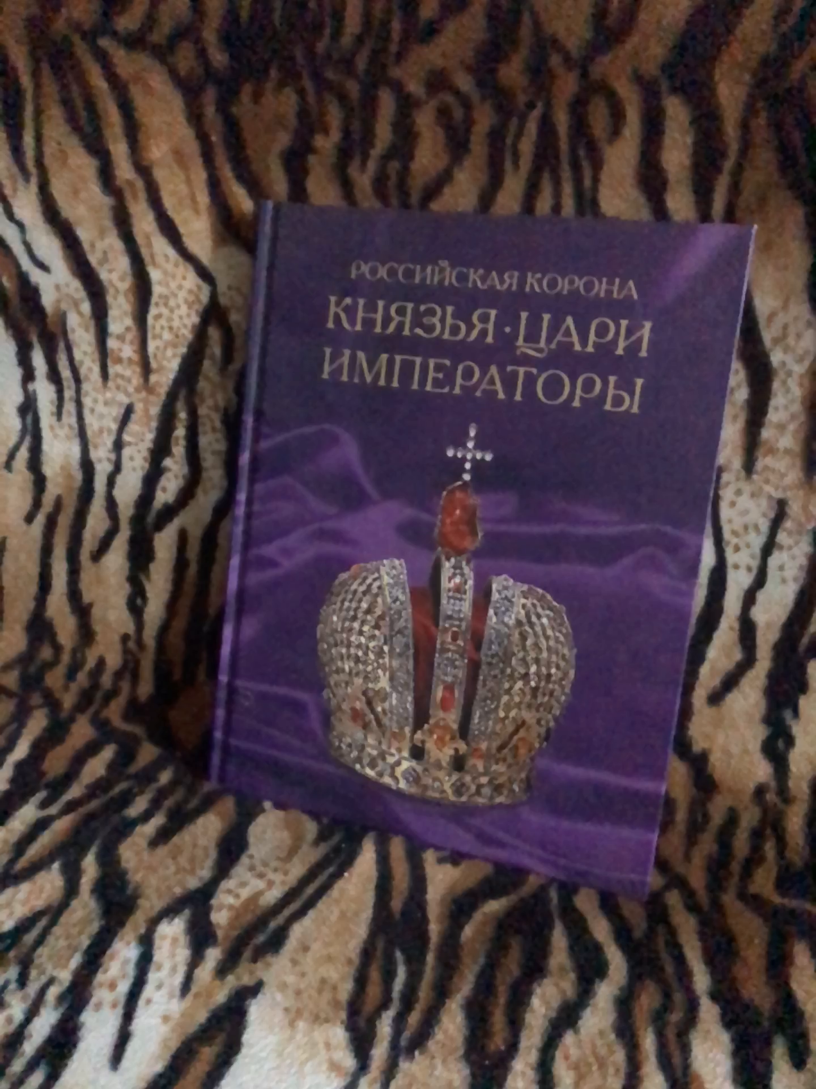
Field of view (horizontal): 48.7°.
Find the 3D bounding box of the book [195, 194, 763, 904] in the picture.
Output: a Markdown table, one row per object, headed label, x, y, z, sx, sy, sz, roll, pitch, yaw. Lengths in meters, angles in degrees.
| label | x | y | z | sx | sy | sz | roll | pitch | yaw |
| --- | --- | --- | --- | --- | --- | --- | --- | --- | --- |
| book | 0.020 | -0.007 | 0.409 | 0.223 | 0.280 | 0.035 | 9 | 8 | 19 |
